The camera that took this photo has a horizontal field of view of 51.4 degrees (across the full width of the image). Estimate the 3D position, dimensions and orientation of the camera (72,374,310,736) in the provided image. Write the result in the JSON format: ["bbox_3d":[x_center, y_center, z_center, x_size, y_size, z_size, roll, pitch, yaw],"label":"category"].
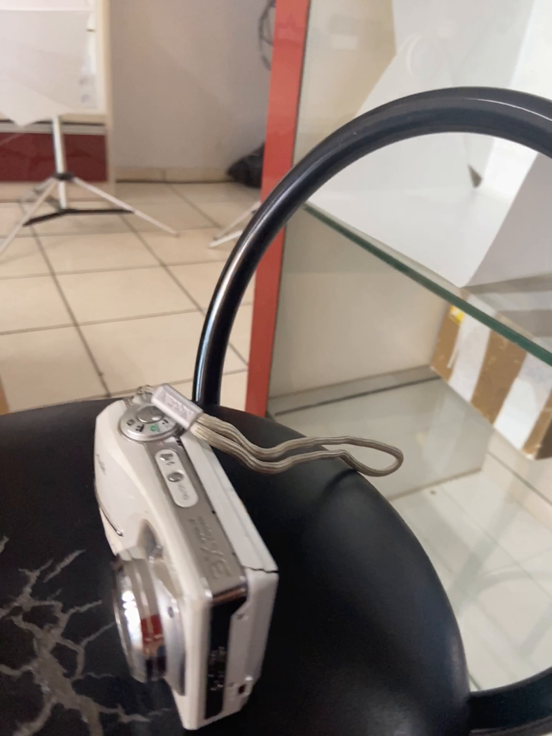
[{"bbox_3d":[-0.034,0.058,0.190,0.040,0.070,0.090,-11,35,-28],"label":"camera"}]
